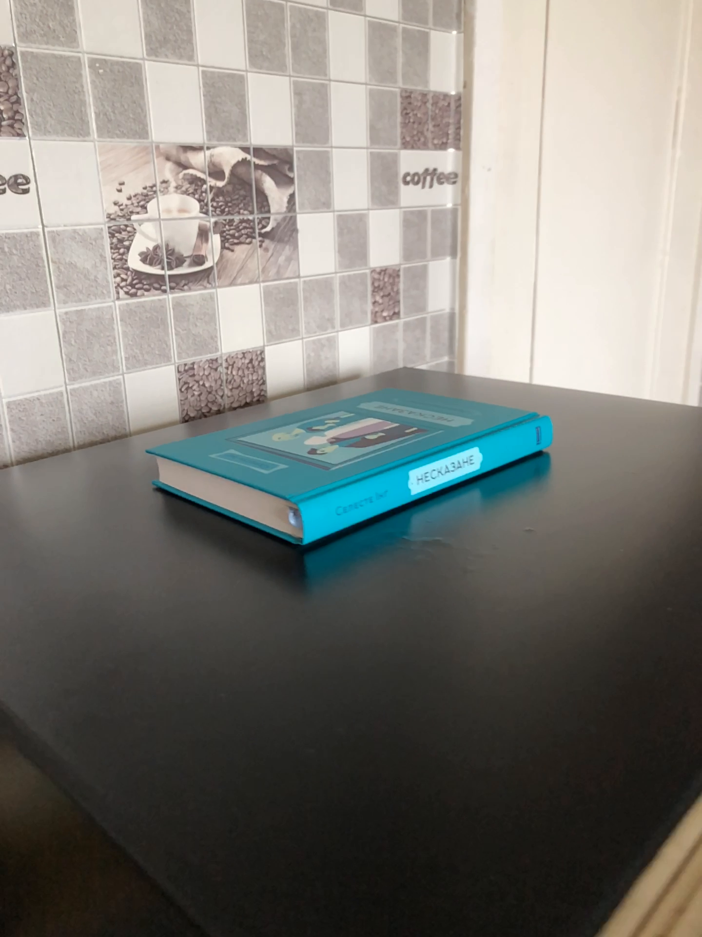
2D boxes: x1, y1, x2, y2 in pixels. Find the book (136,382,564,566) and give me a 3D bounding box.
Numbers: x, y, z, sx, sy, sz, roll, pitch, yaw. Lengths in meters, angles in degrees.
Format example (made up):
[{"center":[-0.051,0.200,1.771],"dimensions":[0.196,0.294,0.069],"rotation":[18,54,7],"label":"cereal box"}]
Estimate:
[{"center":[0.006,-0.011,0.479],"dimensions":[0.221,0.030,0.151],"rotation":[-19,24,-41],"label":"book"}]
